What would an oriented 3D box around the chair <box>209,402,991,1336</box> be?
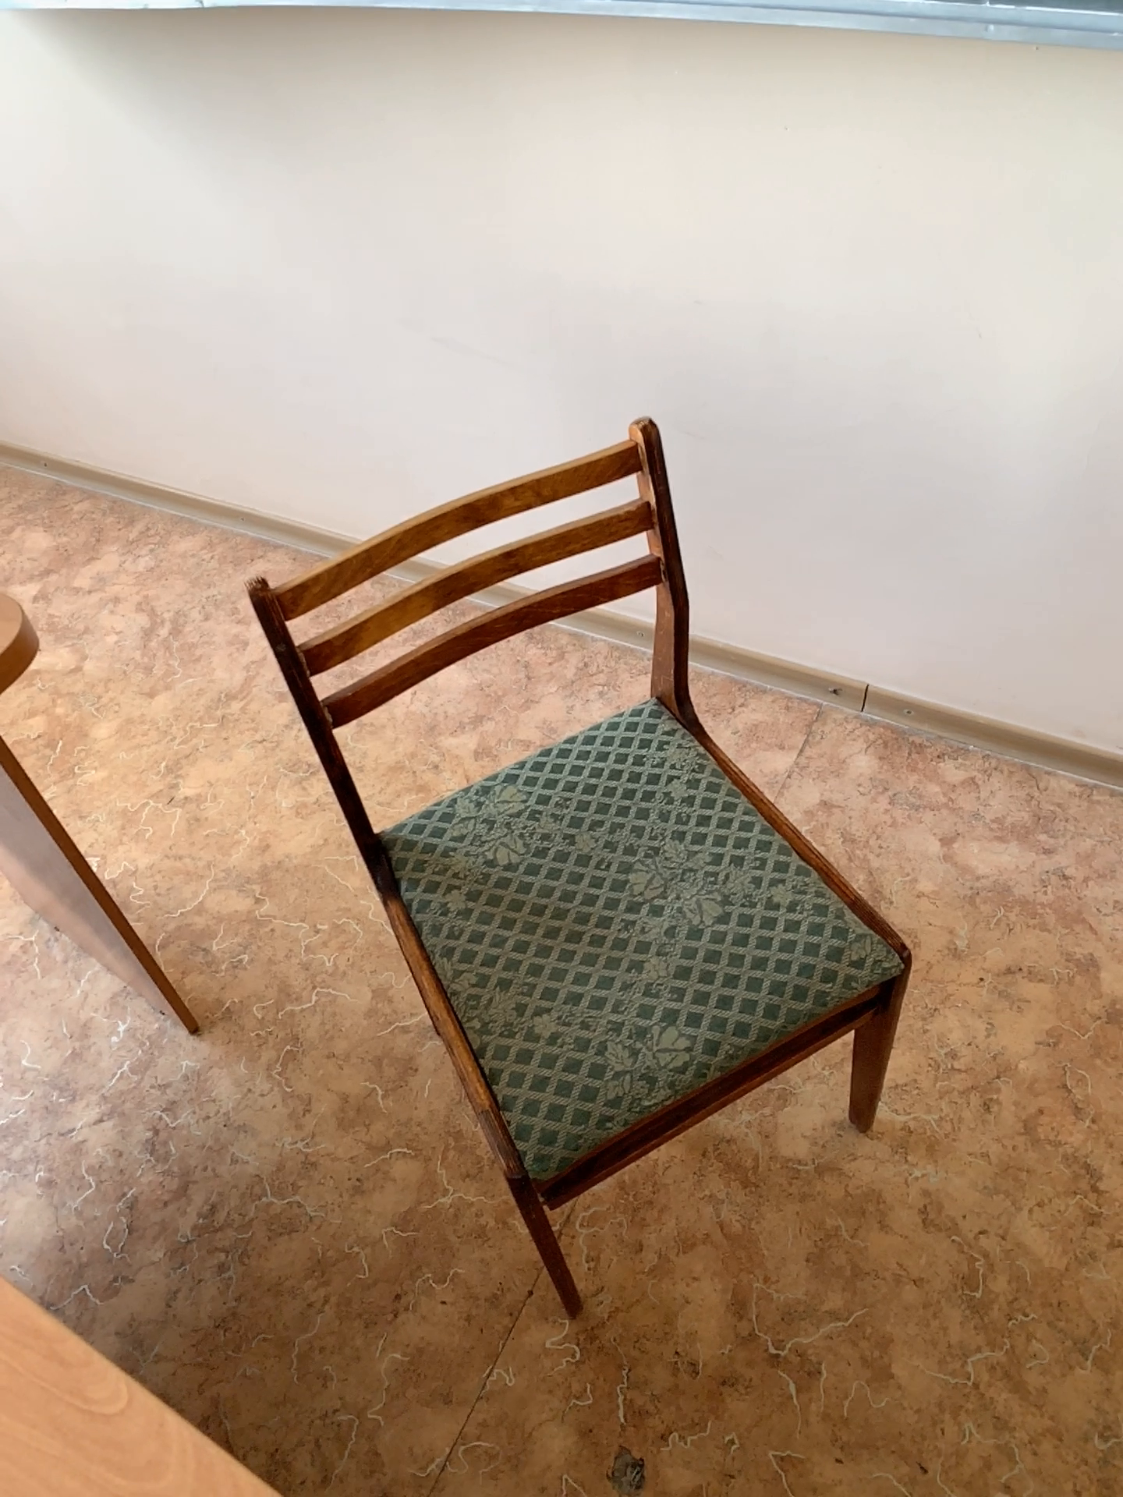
[{"bbox_3d":[0.038,0.147,1.061,0.401,0.704,0.404,-26,50,-15],"label":"chair"}]
